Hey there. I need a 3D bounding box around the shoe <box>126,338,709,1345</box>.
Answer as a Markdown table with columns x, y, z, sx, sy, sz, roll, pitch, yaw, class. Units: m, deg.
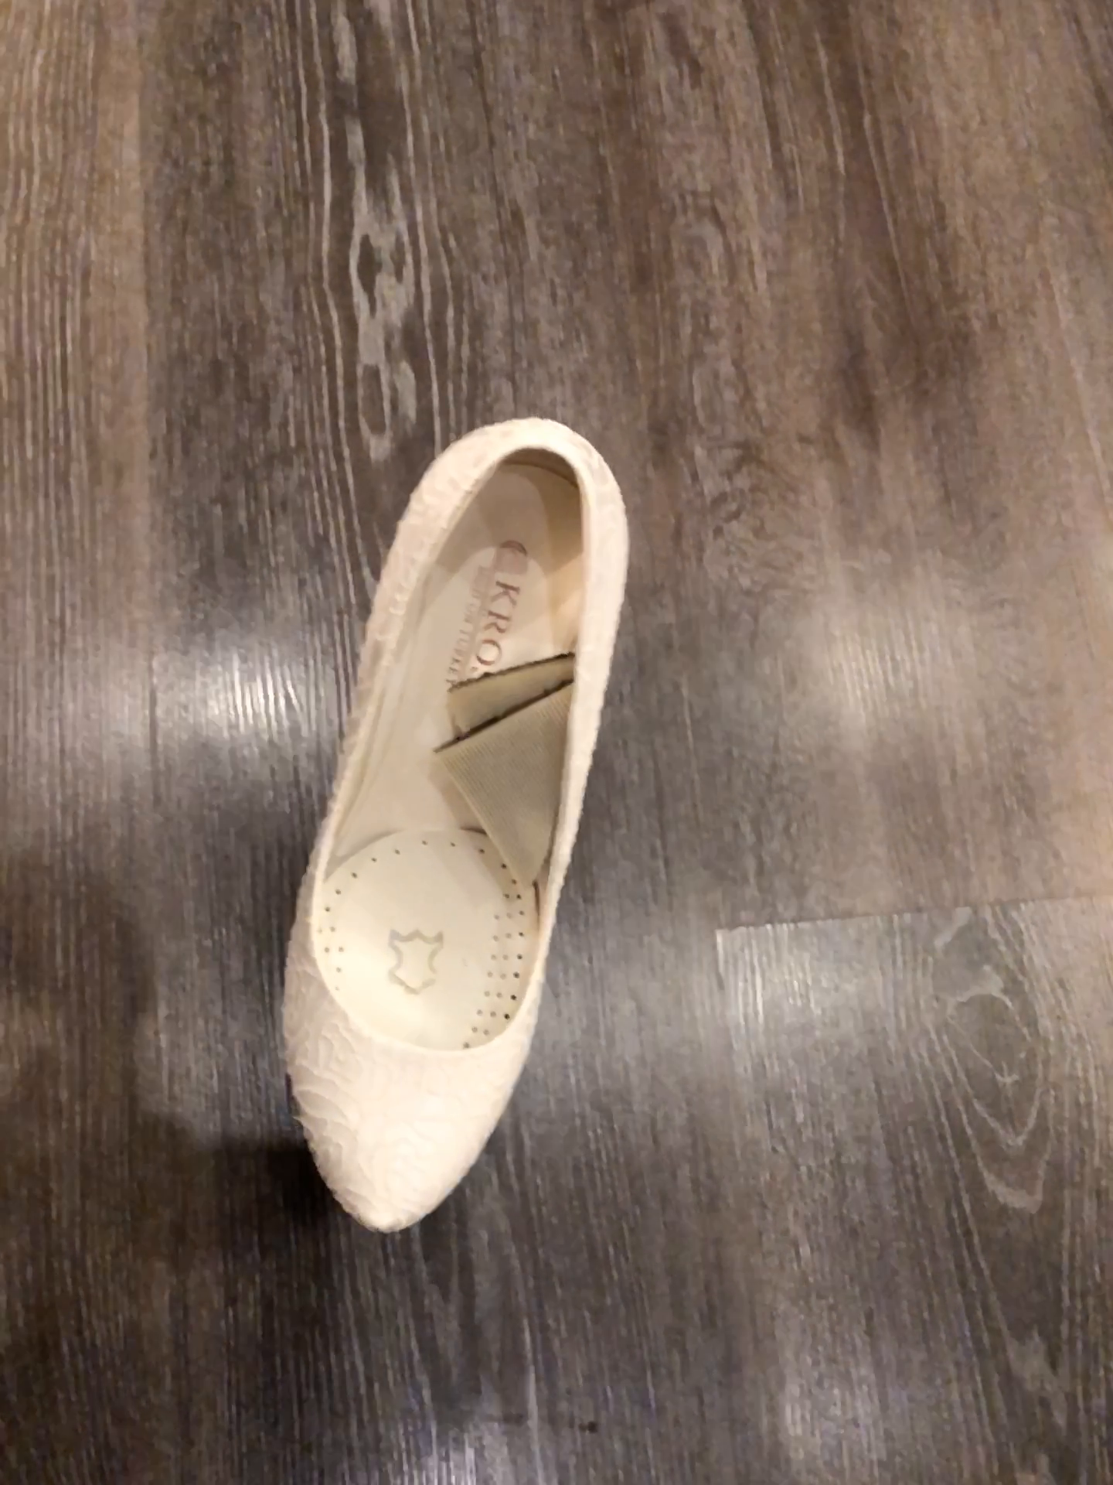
| x | y | z | sx | sy | sz | roll | pitch | yaw | class |
| --- | --- | --- | --- | --- | --- | --- | --- | --- | --- |
| -0.033 | 0.031 | 0.340 | 0.090 | 0.150 | 0.210 | 11 | 73 | -5 | shoe |
